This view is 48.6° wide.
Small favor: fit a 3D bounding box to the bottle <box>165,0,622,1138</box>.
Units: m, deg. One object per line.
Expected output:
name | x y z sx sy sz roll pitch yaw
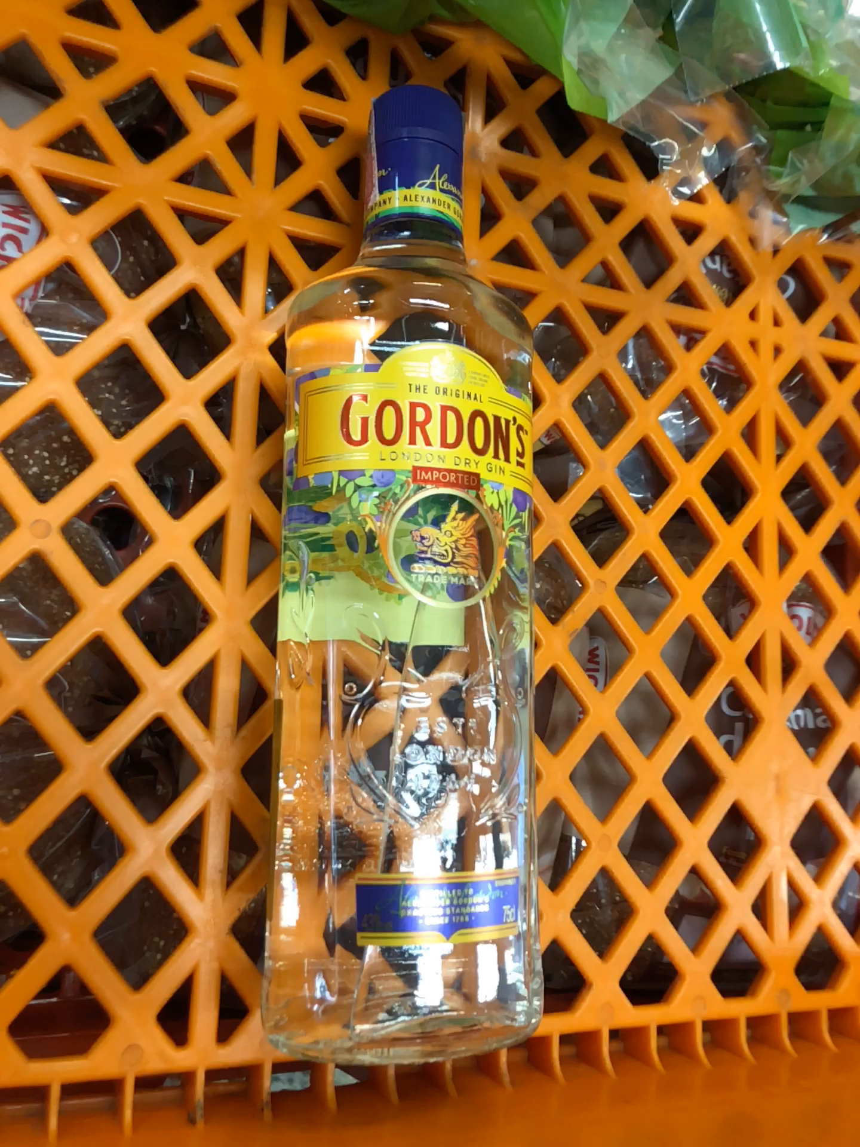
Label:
bottle | -0.014 -0.023 0.292 0.100 0.100 0.310 4 82 -25
